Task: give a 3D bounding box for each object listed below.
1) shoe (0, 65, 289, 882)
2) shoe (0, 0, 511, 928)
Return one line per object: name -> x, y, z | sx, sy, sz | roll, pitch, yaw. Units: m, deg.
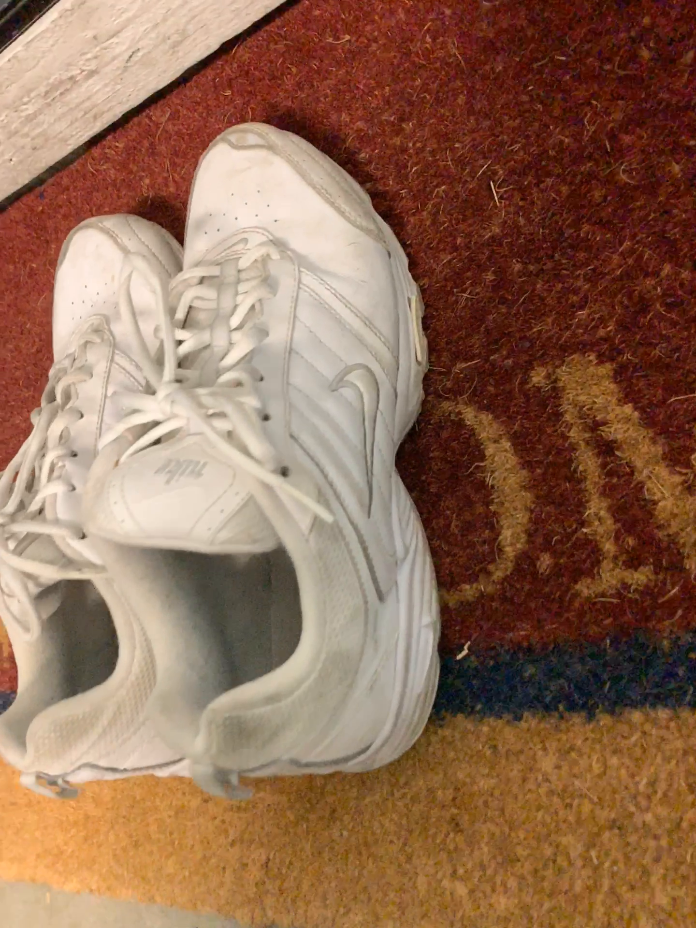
shoe -> -0.130, 0.004, 0.340 | 0.110, 0.129, 0.301 | -15, 78, 33
shoe -> -0.043, -0.020, 0.282 | 0.120, 0.129, 0.301 | -15, 78, 33
